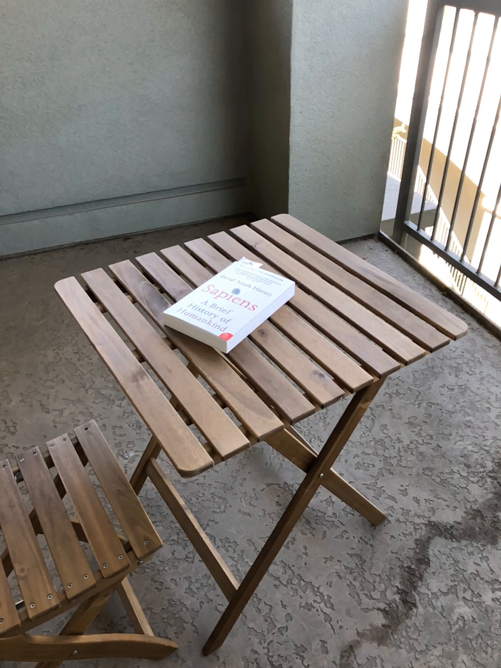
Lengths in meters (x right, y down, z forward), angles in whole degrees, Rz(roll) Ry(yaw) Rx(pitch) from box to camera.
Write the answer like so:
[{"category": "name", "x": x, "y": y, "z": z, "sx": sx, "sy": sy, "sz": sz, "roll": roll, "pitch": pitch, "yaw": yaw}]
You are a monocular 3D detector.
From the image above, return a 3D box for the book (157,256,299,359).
[{"category": "book", "x": -0.038, "y": -0.062, "z": 1.074, "sx": 0.160, "sy": 0.040, "sz": 0.241, "roll": 23, "pitch": 44, "yaw": 28}]
